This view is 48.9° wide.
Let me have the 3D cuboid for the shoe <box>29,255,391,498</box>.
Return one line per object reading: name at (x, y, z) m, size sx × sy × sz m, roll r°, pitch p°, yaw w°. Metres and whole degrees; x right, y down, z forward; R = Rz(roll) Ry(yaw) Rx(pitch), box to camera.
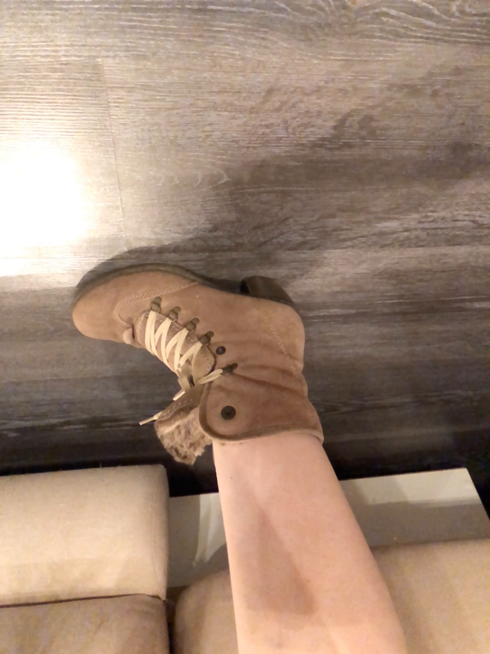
shoe at (-0.038, 0.038, 0.542) m, size 0.290 × 0.209 × 0.110 m, roll -1°, pitch 137°, yaw -8°
